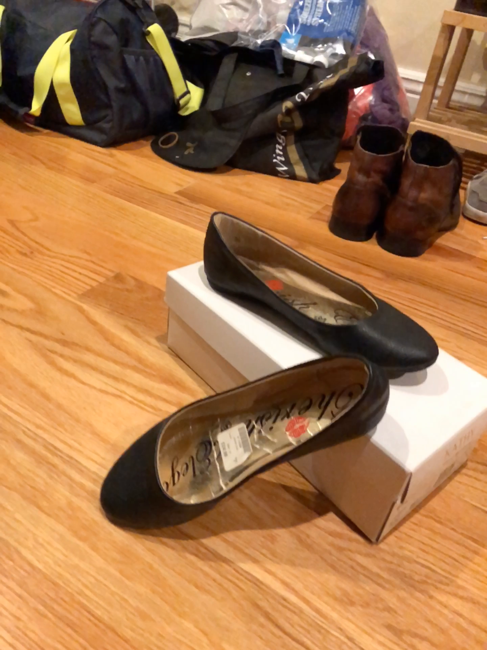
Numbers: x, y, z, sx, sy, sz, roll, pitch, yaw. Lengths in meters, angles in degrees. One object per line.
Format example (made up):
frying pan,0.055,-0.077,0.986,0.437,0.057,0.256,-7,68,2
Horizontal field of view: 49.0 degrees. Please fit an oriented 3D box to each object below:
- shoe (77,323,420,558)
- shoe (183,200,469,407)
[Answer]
shoe,-0.005,0.092,0.394,0.239,0.060,0.076,-25,53,14
shoe,0.060,-0.031,0.472,0.240,0.060,0.076,31,42,27
